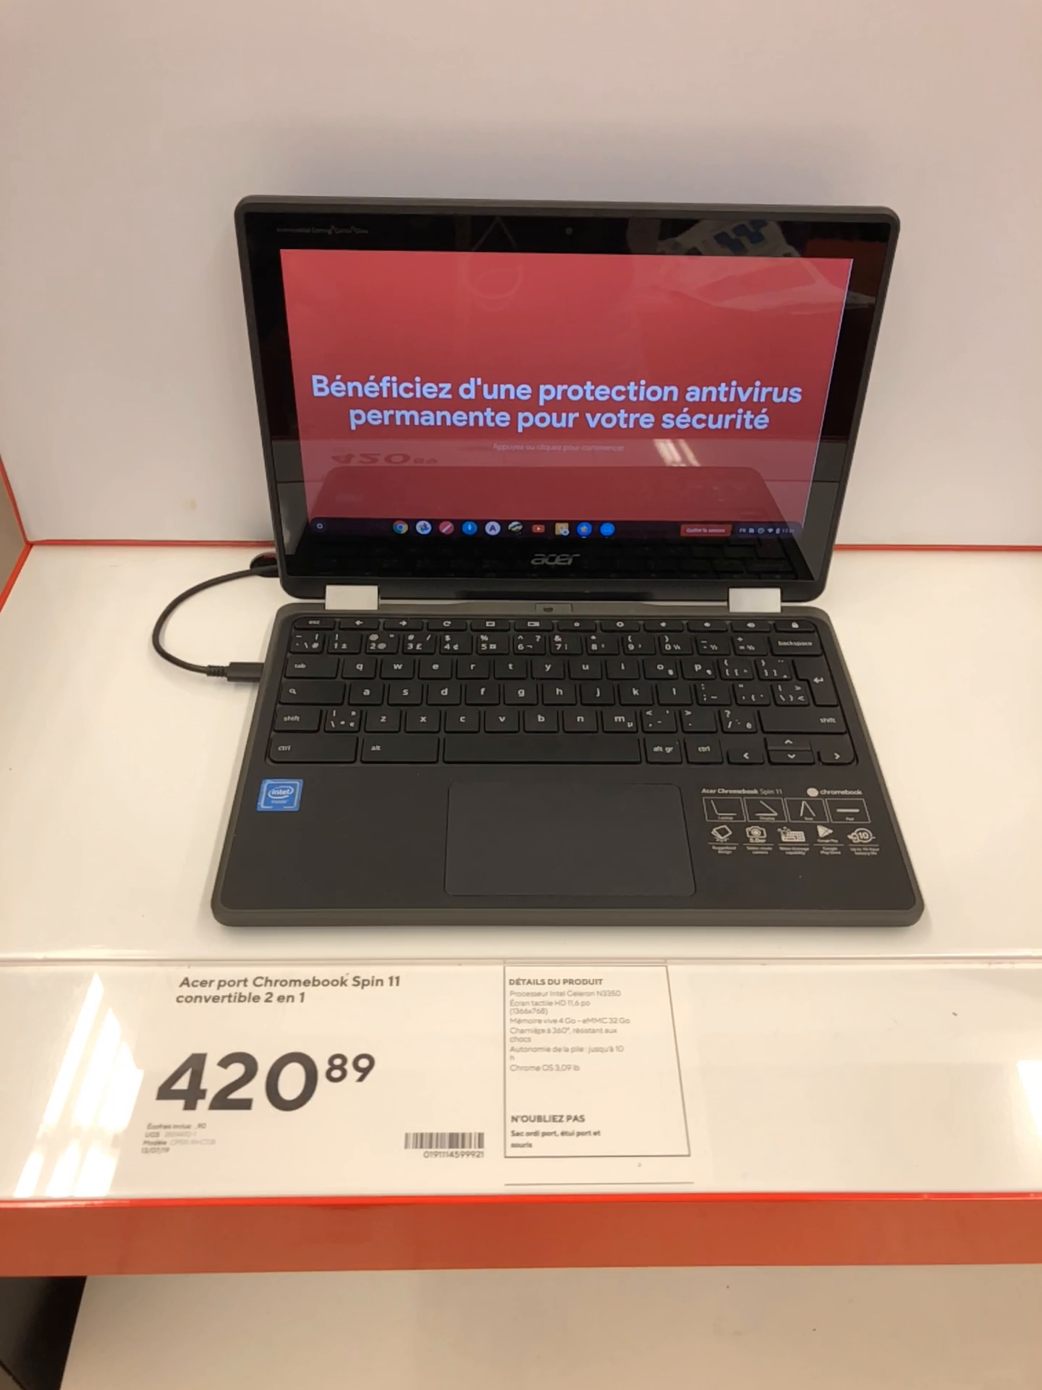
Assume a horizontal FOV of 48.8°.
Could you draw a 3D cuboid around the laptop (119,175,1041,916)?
[{"bbox_3d":[0.018,-0.071,0.502,0.289,0.198,0.253,0,46,-2],"label":"laptop"}]
